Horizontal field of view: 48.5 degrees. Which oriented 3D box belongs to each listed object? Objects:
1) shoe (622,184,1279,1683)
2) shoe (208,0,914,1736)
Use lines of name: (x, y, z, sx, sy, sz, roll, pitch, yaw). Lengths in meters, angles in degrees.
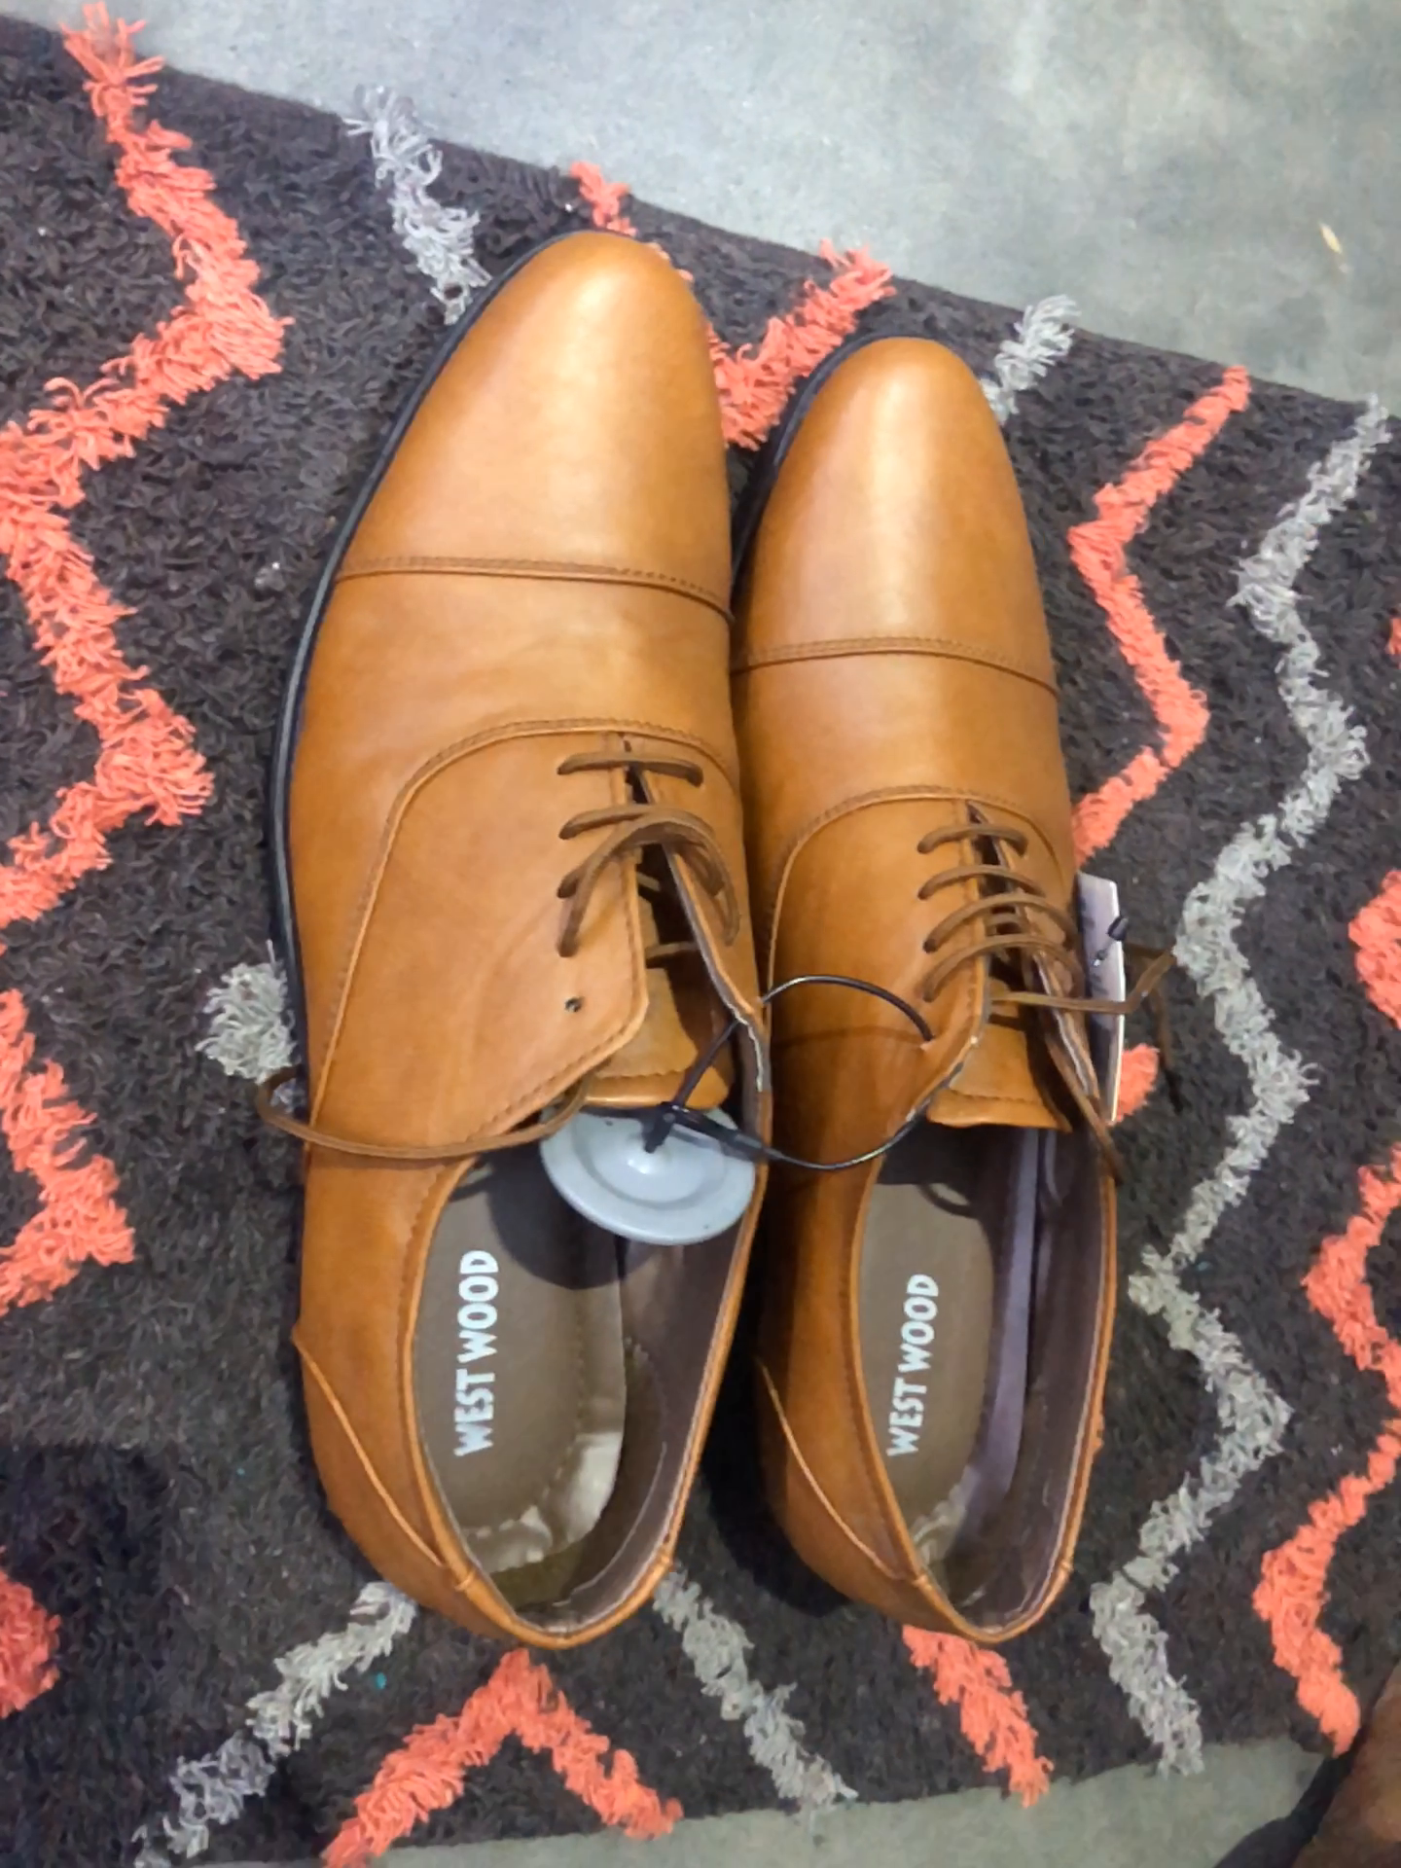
shoe: (0.056, 0.002, 0.368, 0.110, 0.080, 0.300, 3, 90, -22)
shoe: (-0.031, -0.015, 0.319, 0.110, 0.070, 0.310, 3, 90, -22)
